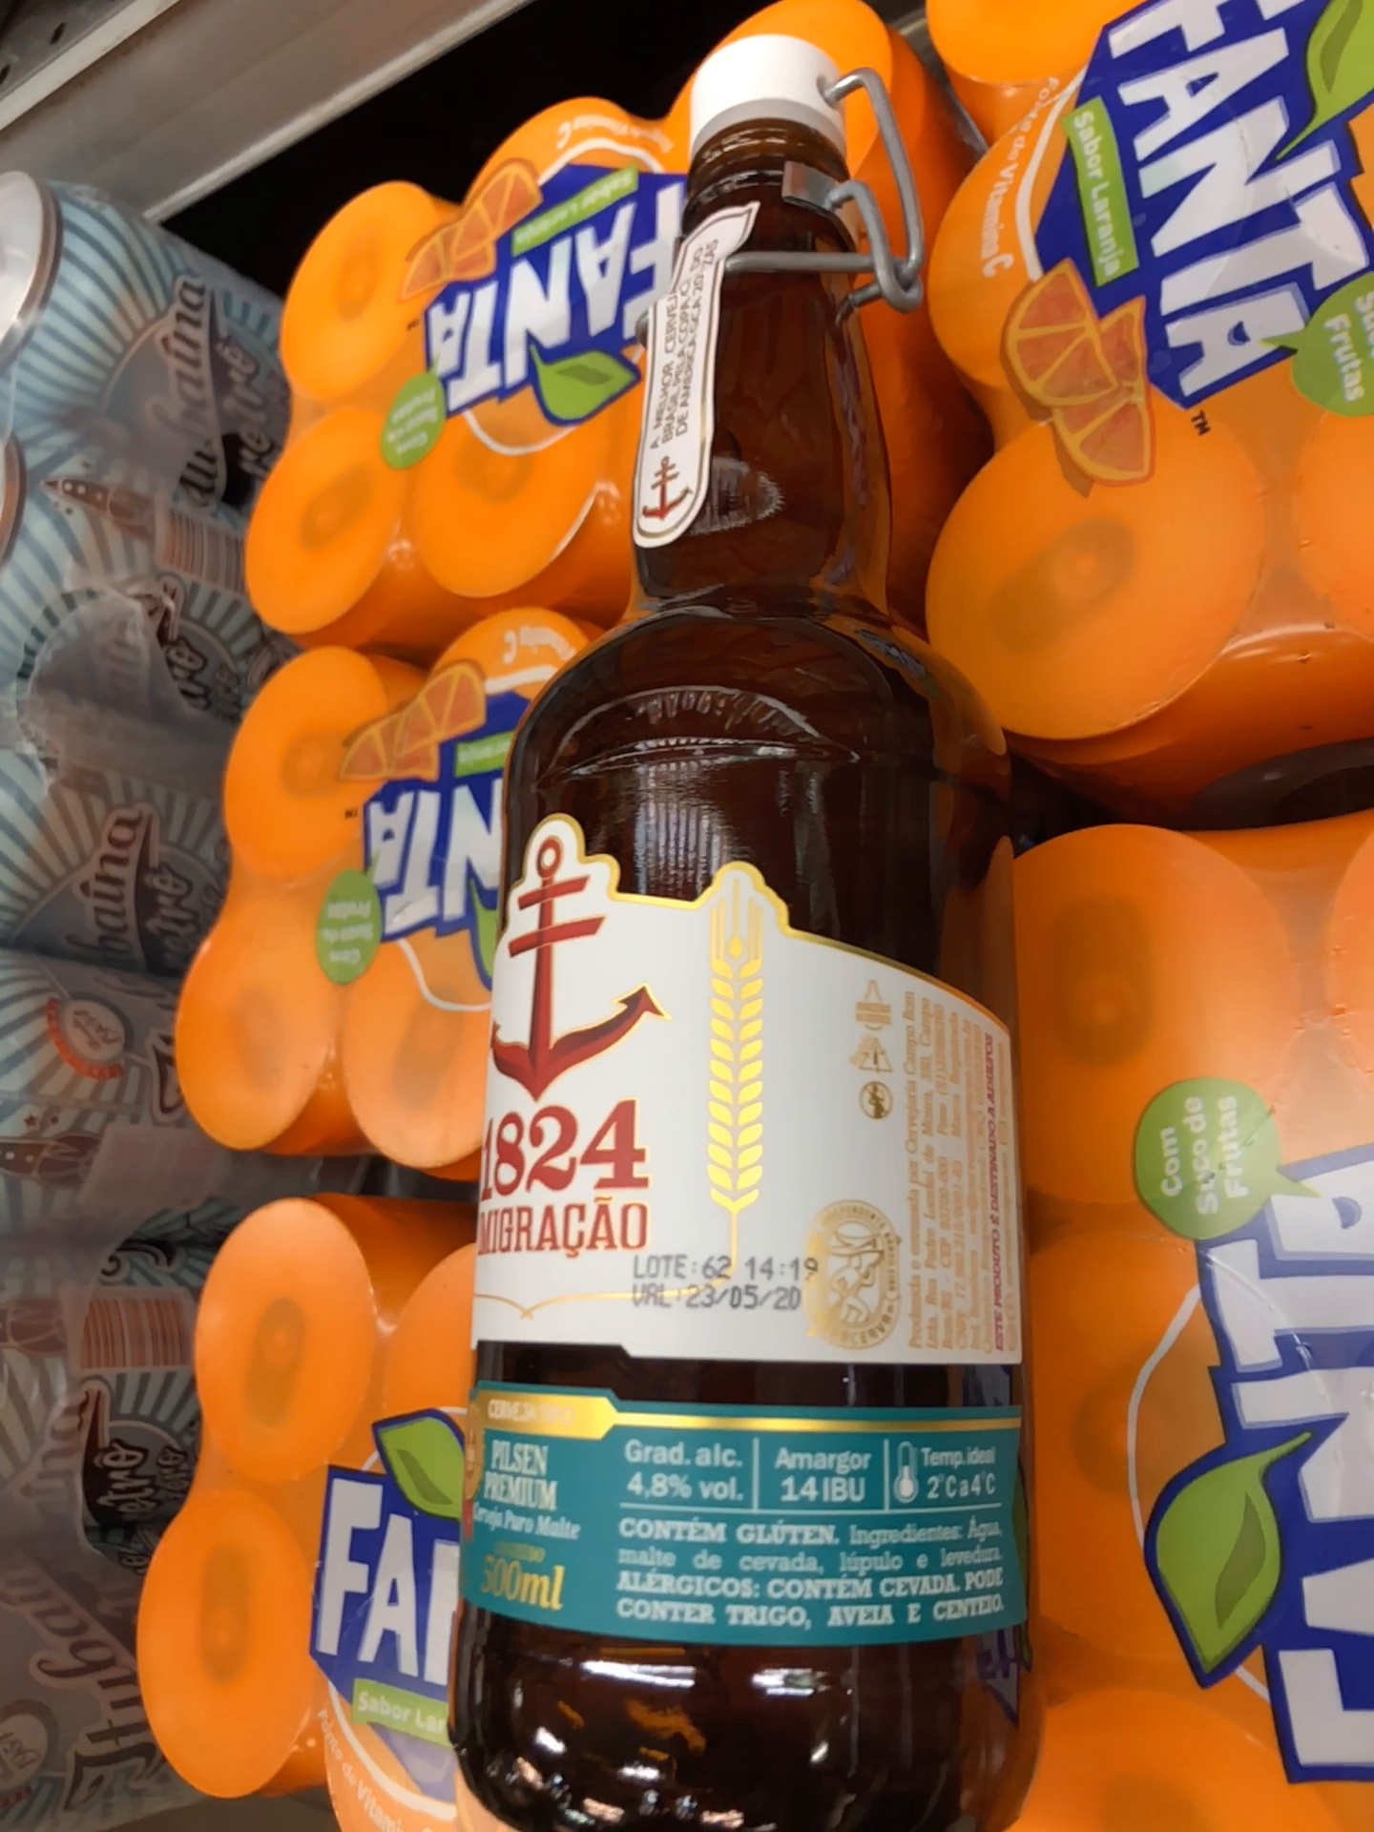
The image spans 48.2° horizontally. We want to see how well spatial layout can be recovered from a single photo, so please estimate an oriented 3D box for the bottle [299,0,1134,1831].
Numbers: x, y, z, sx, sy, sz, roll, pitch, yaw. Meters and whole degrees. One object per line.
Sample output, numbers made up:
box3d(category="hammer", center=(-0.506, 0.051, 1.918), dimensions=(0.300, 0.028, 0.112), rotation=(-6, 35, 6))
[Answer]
box3d(category="bottle", center=(0.002, -0.019, 0.202), dimensions=(0.080, 0.050, 0.250), rotation=(-10, 74, 35))
